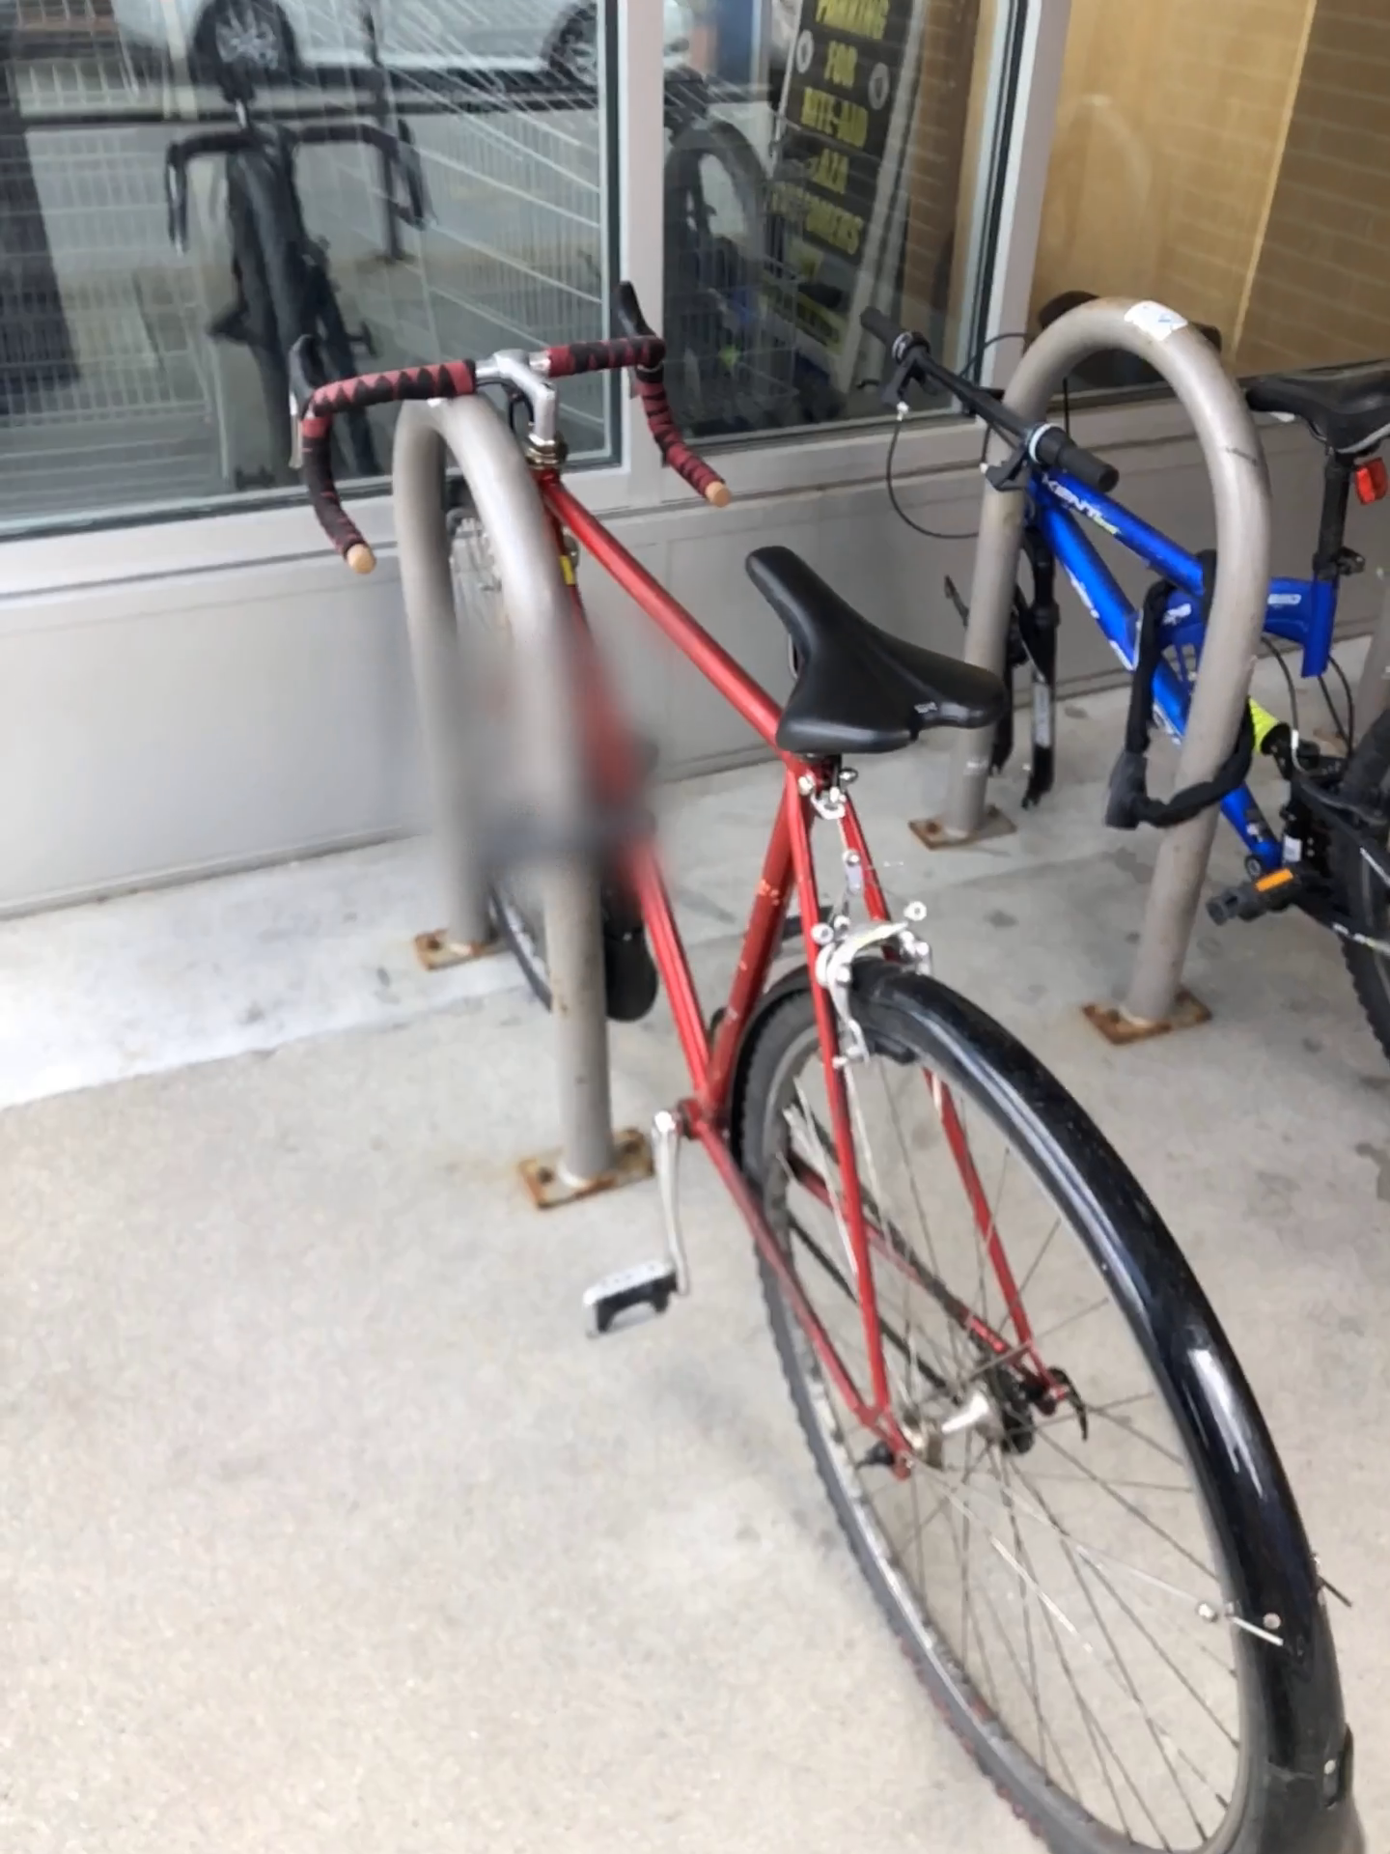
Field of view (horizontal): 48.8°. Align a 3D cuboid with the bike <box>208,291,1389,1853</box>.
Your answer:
[{"bbox_3d":[-0.020,0.059,1.511,0.459,0.787,1.698,-14,42,-20],"label":"bike"}]
